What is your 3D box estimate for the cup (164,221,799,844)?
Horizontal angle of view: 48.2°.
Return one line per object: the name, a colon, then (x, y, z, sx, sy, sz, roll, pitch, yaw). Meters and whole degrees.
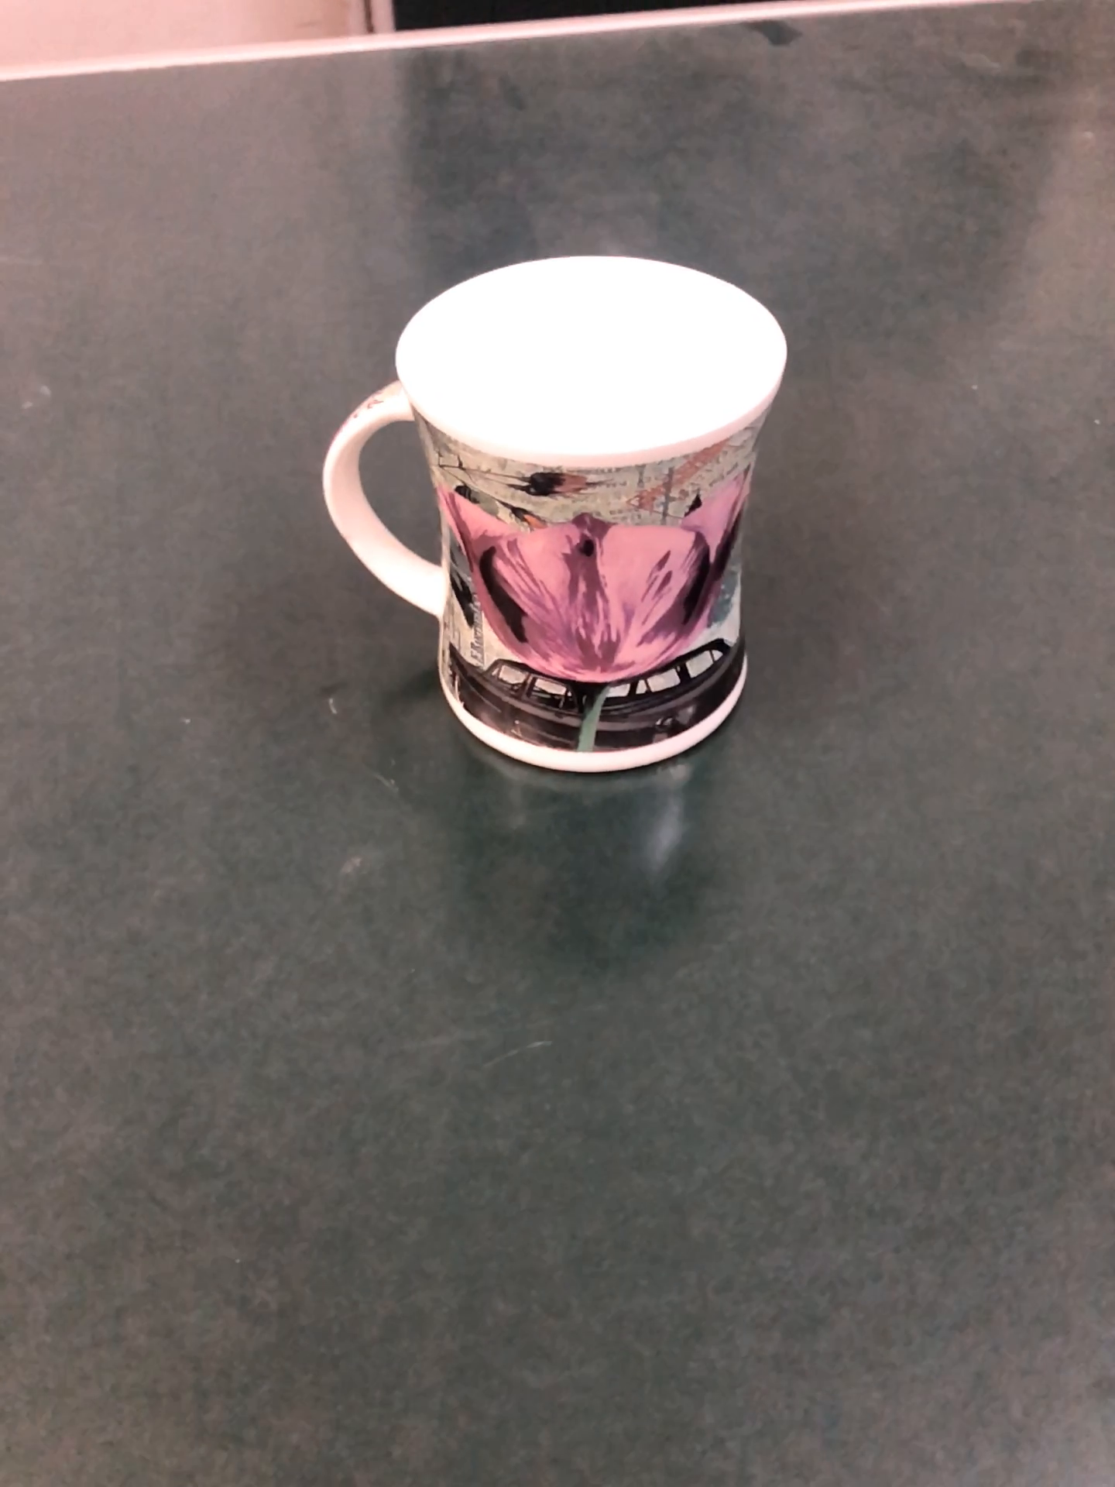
cup: (-0.009, -0.052, 0.307, 0.120, 0.110, 0.090, 6, 47, 7)
